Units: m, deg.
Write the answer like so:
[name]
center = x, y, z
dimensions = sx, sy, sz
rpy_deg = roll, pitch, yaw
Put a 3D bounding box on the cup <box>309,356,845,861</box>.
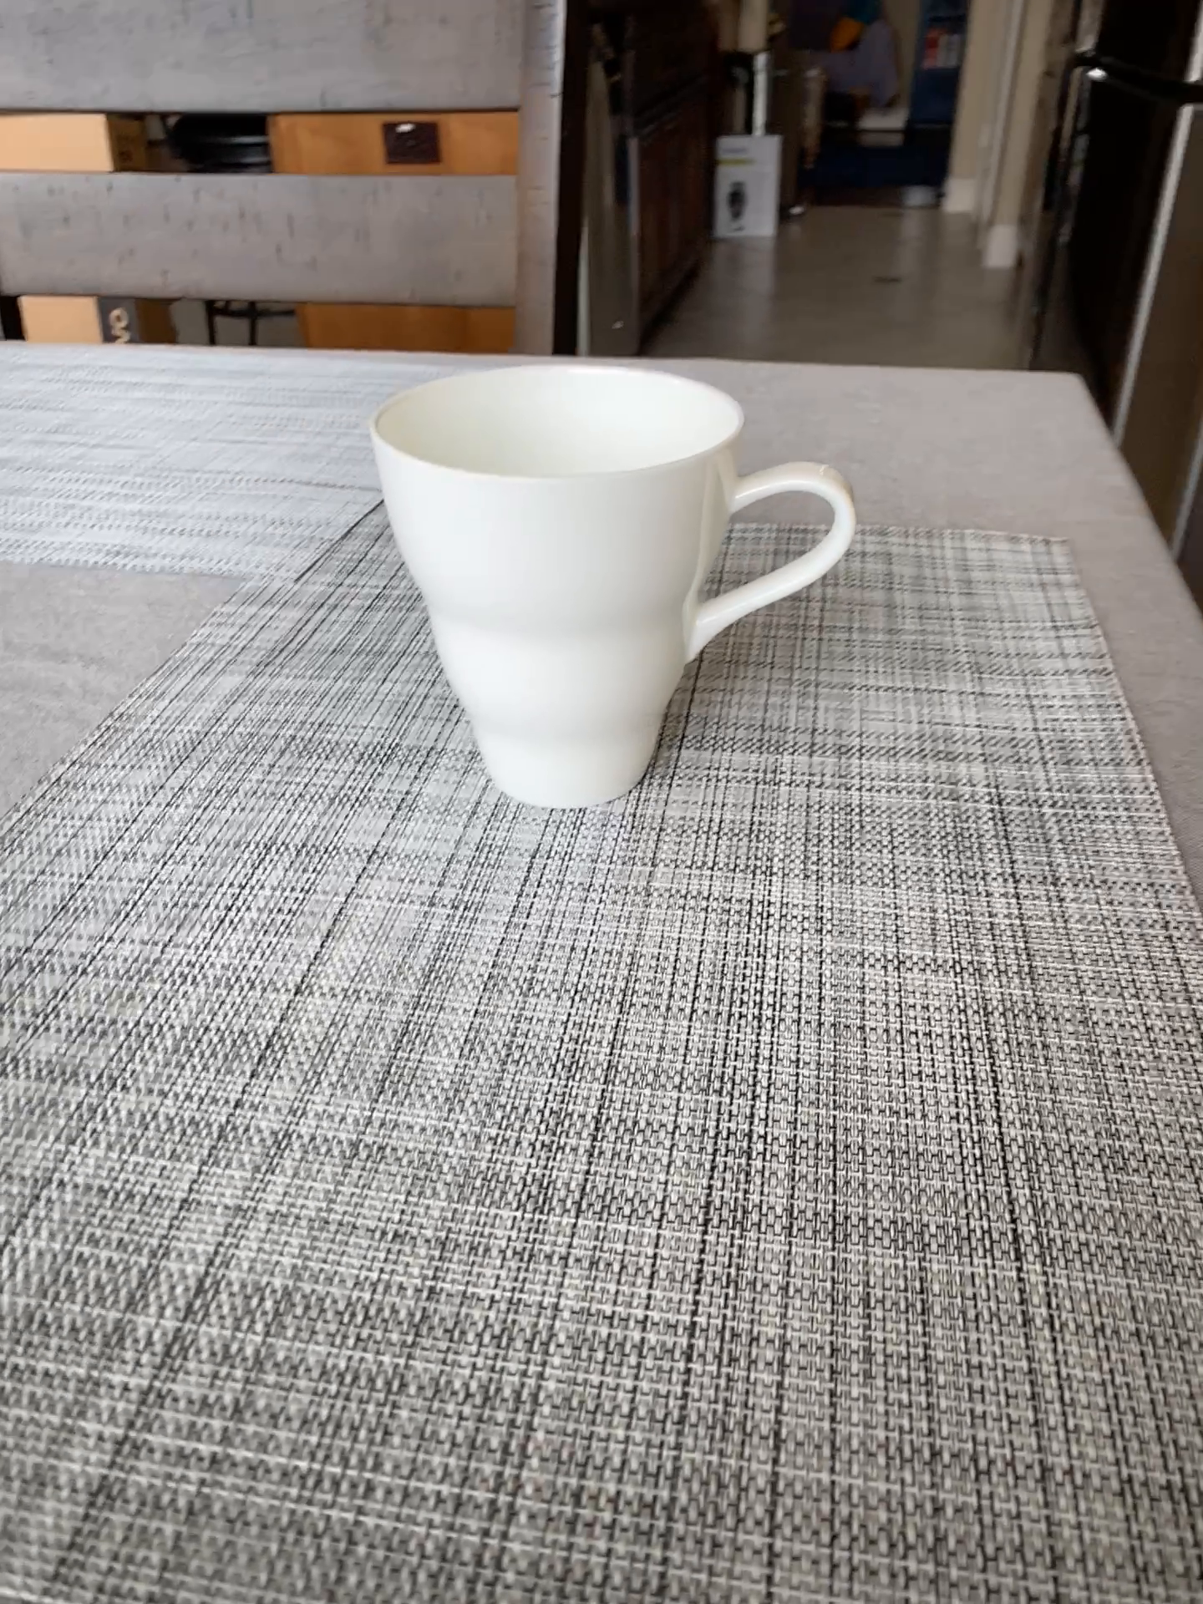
[cup]
center = 0.001, -0.058, 0.345
dimensions = 0.121, 0.098, 0.099
rpy_deg = 5, 36, 9
